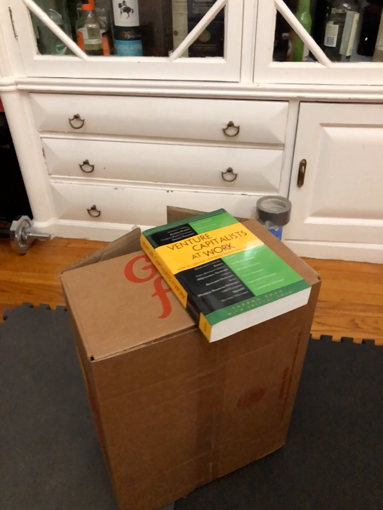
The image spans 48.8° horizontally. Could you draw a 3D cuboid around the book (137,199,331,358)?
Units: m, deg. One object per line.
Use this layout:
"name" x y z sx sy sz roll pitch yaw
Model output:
"book" 0.045 0.013 0.605 0.160 0.040 0.261 -17 40 -21
